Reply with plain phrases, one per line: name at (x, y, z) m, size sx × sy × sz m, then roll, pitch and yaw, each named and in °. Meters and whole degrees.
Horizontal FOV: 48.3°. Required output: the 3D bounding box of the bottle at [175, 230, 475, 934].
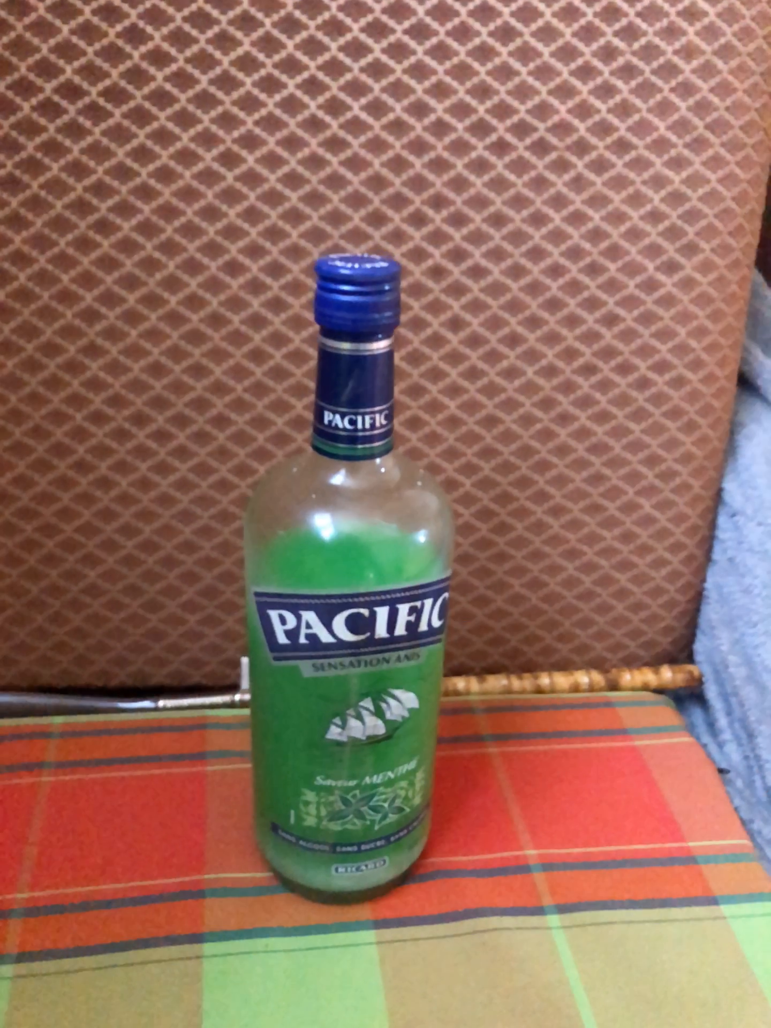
bottle at (-0.028, 0.037, 0.368) m, size 0.090 × 0.289 × 0.080 m, roll -7°, pitch 28°, yaw -15°
